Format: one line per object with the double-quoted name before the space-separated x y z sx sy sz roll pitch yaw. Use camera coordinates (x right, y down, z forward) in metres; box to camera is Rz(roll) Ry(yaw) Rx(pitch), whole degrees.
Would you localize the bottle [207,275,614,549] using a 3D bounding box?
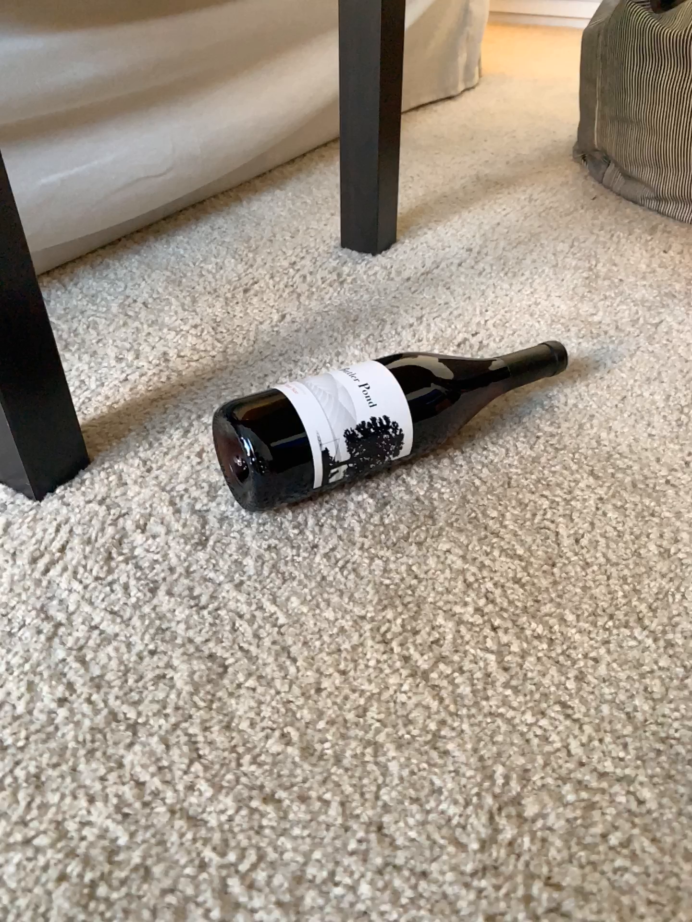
"bottle" 0.048 -0.042 0.513 0.280 0.080 0.080 -22 62 -21
